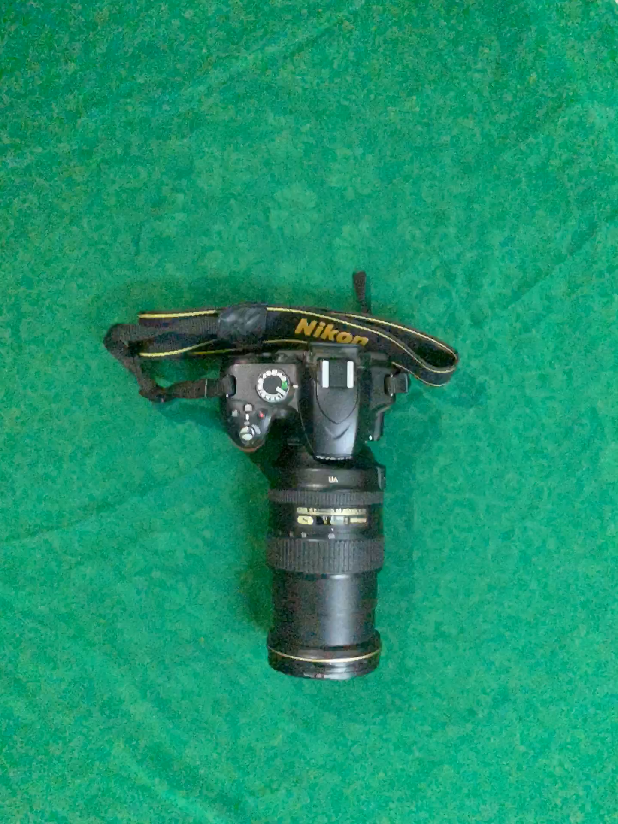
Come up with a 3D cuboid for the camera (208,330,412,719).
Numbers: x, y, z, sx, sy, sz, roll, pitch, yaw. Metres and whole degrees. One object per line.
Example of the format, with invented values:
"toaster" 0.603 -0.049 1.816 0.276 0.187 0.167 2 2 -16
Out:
"camera" -0.004 0.068 0.433 0.122 0.088 0.234 -1 88 -6
